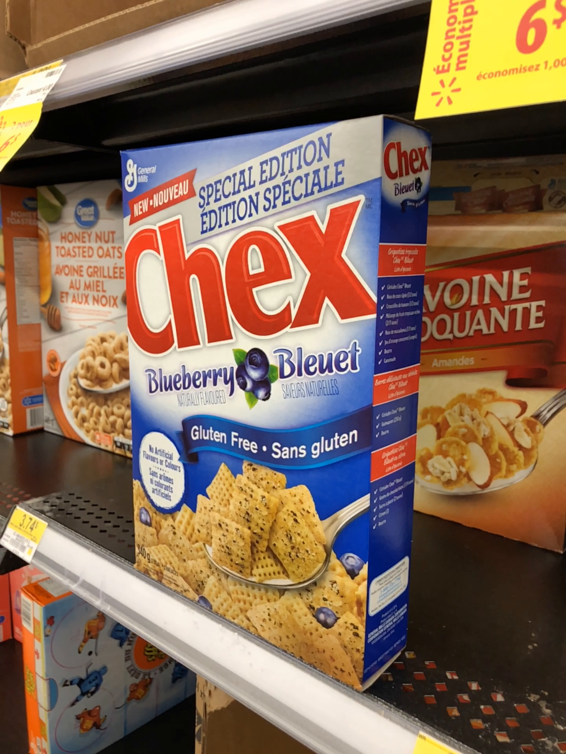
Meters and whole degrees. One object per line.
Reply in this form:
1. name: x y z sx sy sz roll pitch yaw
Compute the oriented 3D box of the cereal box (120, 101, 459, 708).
1. cereal box: -0.010 0.007 0.379 0.200 0.289 0.060 10 14 41
